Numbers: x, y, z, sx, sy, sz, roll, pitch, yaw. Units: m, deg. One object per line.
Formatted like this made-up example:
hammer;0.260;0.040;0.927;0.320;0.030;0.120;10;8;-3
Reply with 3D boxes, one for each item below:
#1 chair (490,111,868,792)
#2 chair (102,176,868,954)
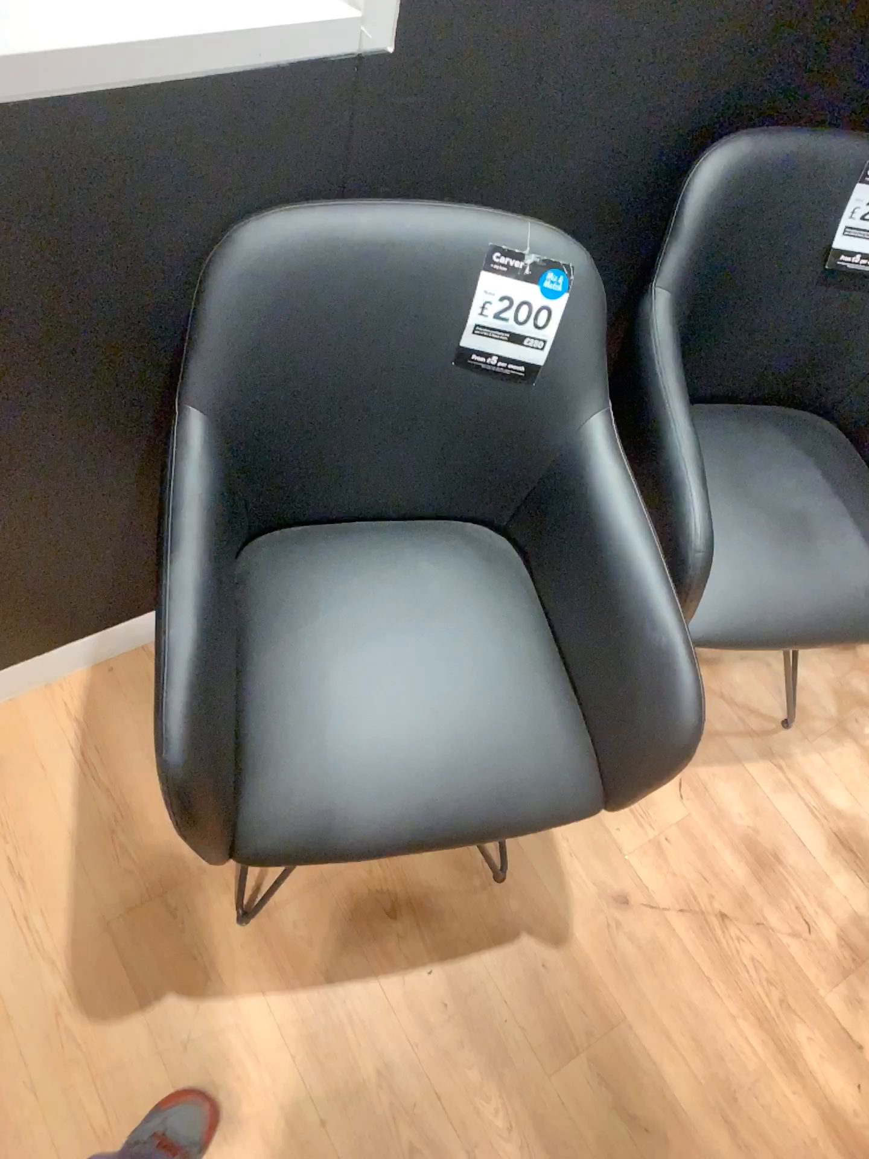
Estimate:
chair;0.522;-0.135;1.364;0.564;0.838;0.594;-6;61;-15
chair;-0.037;0.046;1.107;0.604;0.778;0.595;-3;60;-14
